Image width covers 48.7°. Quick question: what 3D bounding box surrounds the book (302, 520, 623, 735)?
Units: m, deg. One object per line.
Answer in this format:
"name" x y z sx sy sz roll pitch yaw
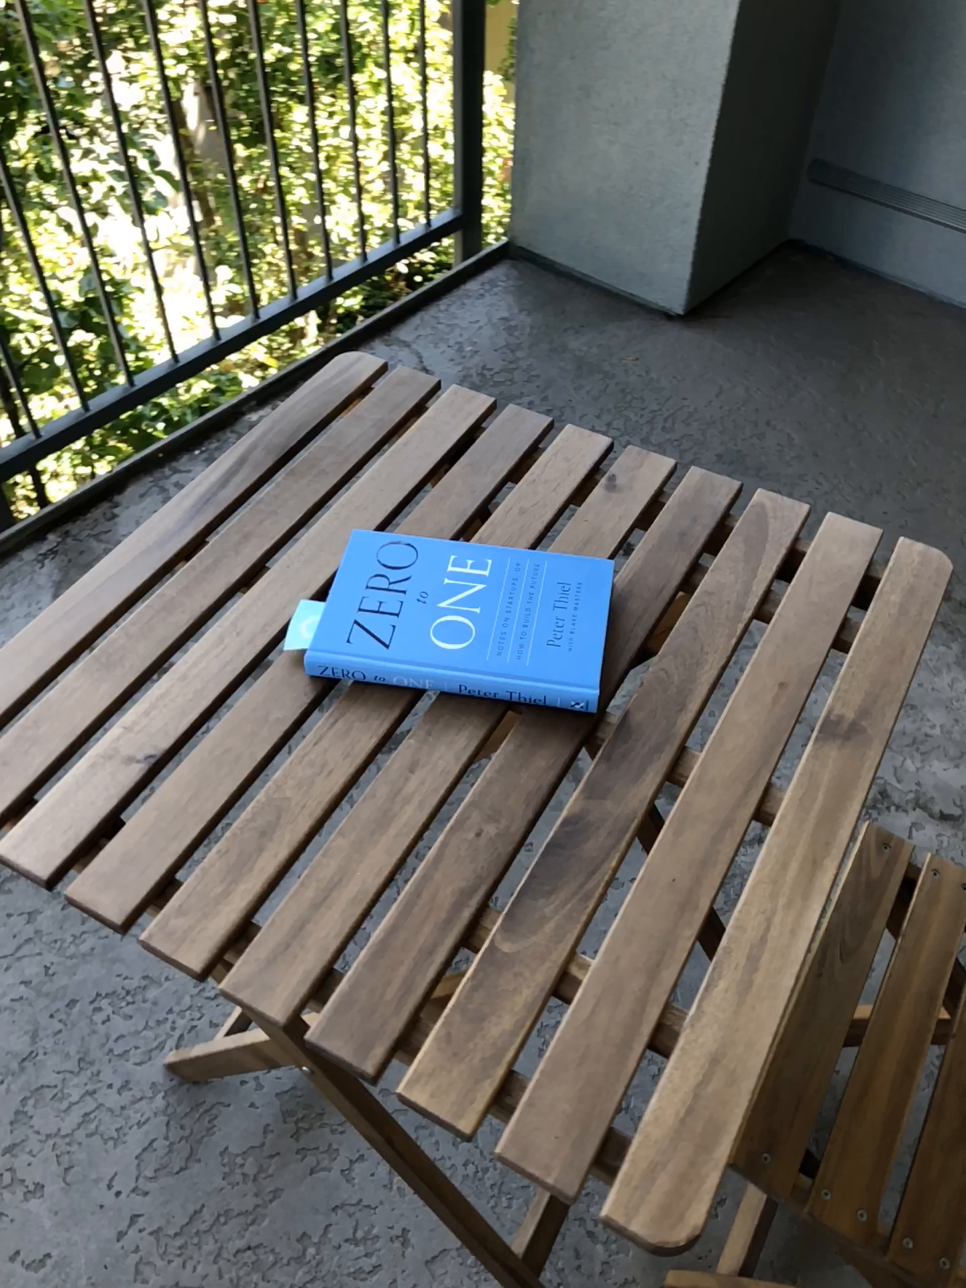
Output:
"book" -0.010 -0.018 0.823 0.220 0.030 0.161 7 49 5
